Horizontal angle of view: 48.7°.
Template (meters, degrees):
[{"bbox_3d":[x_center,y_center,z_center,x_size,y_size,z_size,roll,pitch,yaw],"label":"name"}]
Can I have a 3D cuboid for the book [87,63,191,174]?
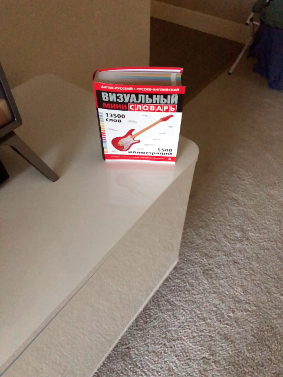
[{"bbox_3d":[-0.004,-0.111,0.534,0.150,0.179,0.060,2,48,0],"label":"book"}]
